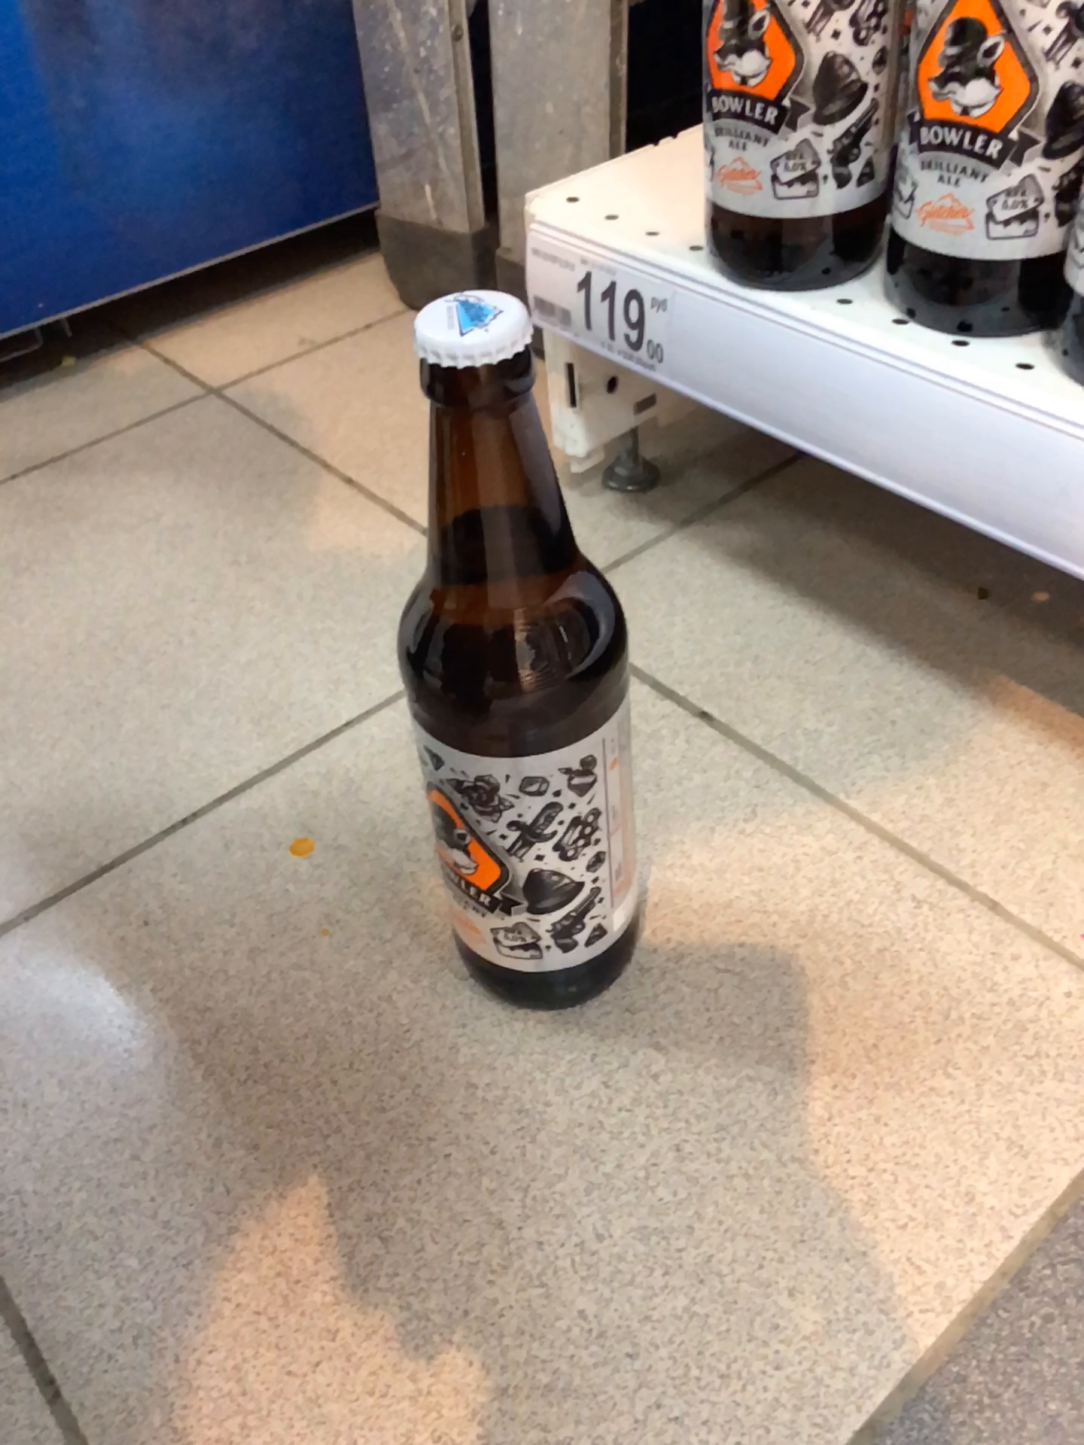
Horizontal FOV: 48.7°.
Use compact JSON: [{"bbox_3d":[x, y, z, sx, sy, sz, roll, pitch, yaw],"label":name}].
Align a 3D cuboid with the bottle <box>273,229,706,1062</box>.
[{"bbox_3d":[-0.003,-0.008,0.360,0.070,0.239,0.075,-4,42,3],"label":"bottle"}]
